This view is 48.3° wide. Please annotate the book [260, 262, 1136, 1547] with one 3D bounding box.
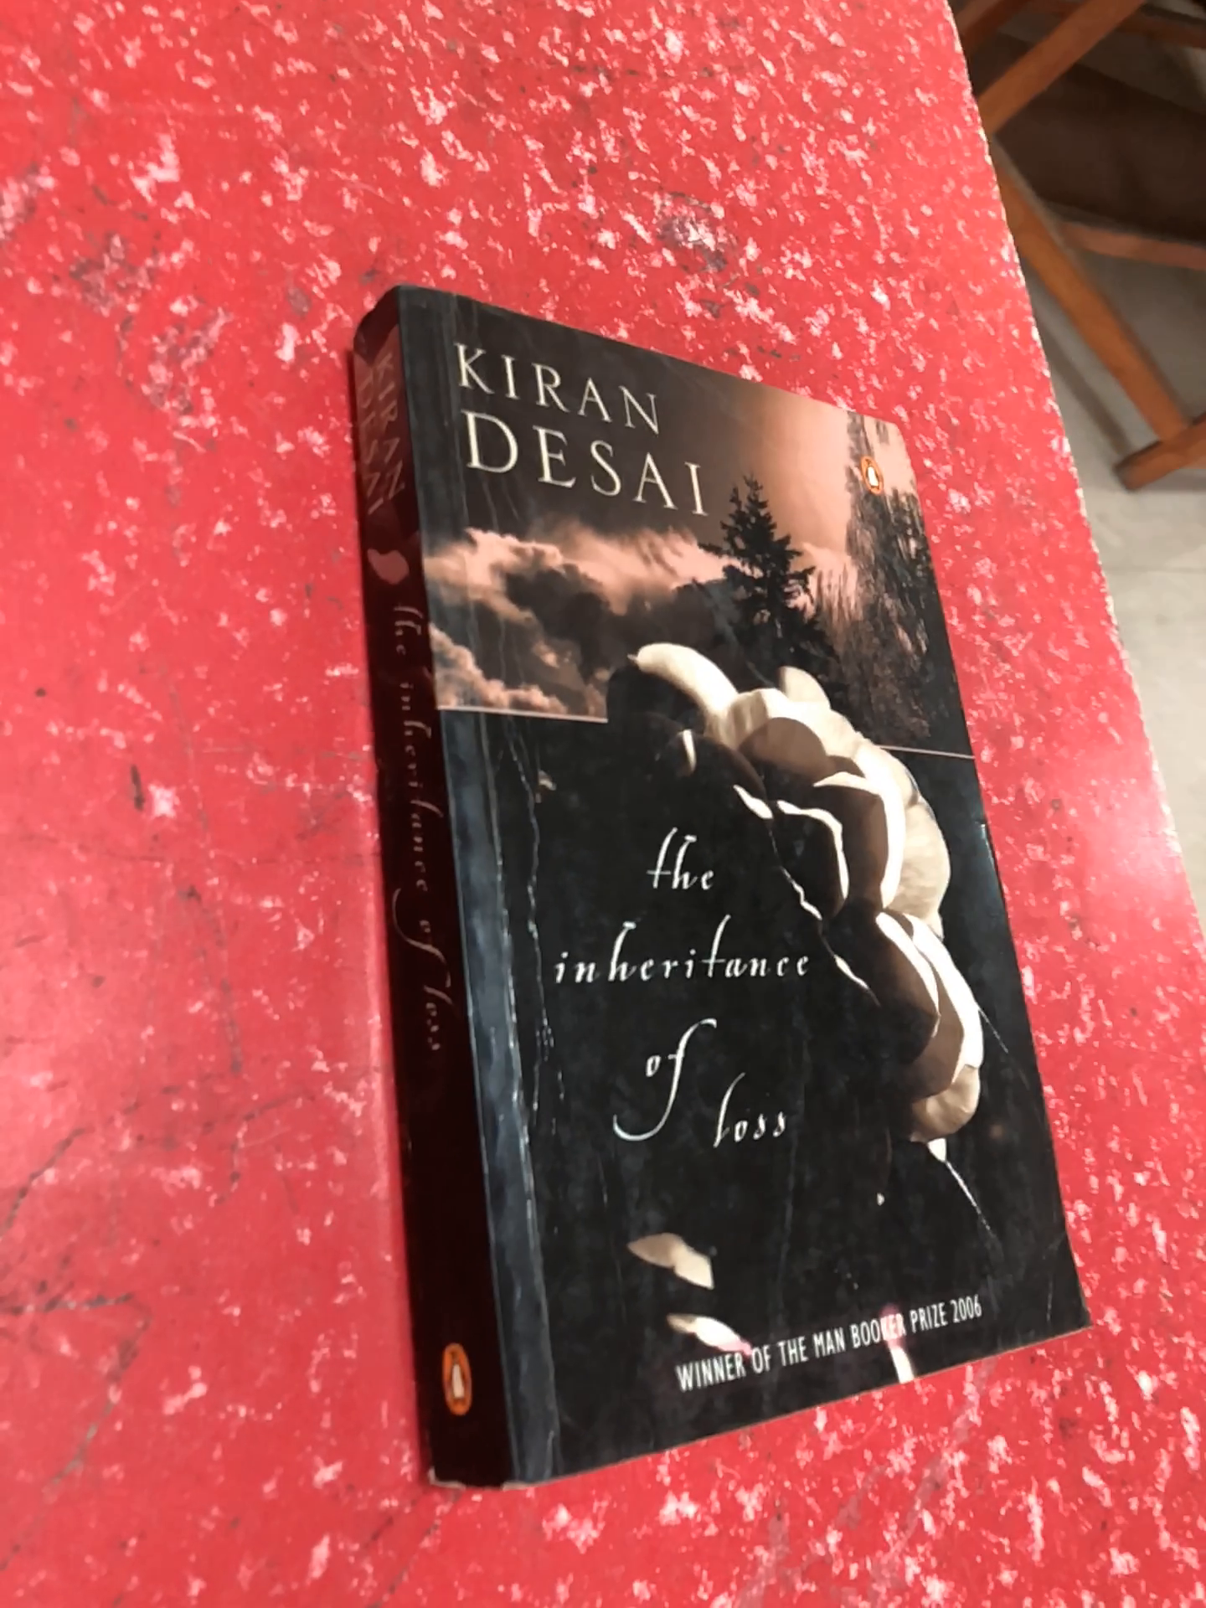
[{"bbox_3d":[0.014,0.014,0.254,0.130,0.060,0.190,3,71,-35],"label":"book"}]
